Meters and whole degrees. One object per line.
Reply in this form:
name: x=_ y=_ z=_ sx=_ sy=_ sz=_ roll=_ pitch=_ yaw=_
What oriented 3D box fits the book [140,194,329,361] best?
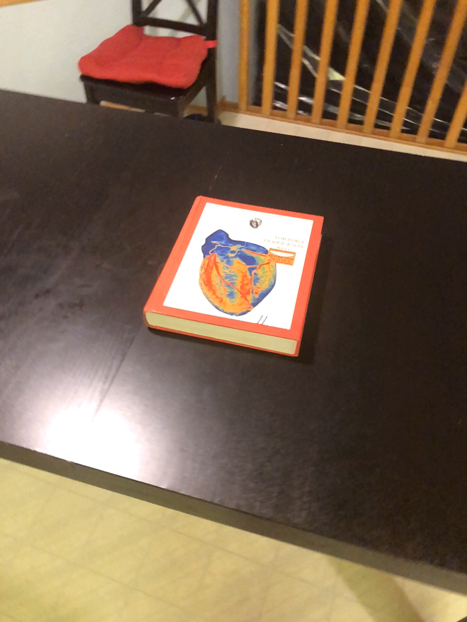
book: x=0.014 y=-0.071 z=0.867 sx=0.250 sy=0.050 sz=0.291 roll=10 pitch=50 yaw=9
